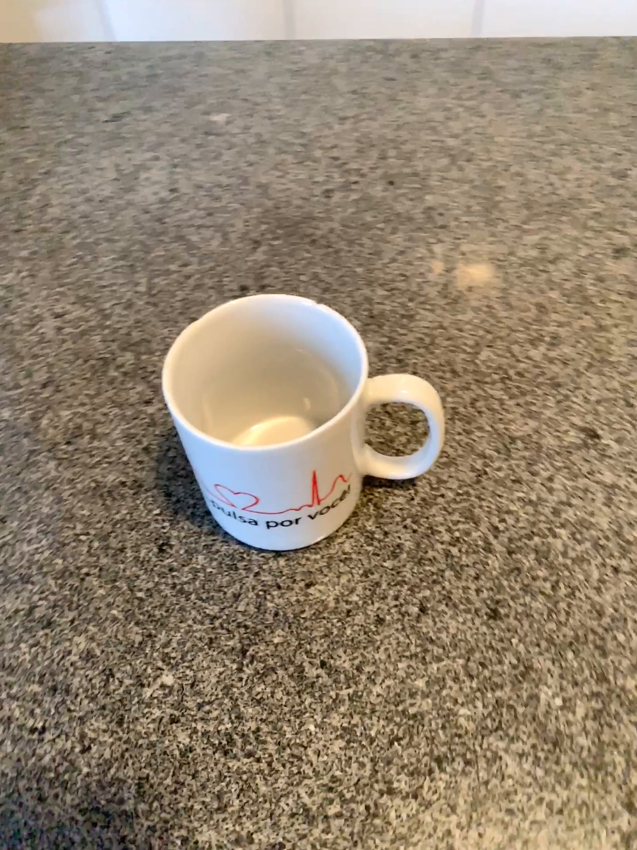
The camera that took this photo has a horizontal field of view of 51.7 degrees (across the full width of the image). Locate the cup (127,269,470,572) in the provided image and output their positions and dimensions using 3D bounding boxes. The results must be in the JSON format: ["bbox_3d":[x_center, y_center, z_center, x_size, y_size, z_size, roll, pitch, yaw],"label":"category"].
[{"bbox_3d":[-0.002,0.000,0.295,0.120,0.100,0.090,2,54,5],"label":"cup"}]

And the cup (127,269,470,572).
[{"bbox_3d":[-0.002,0.000,0.295,0.120,0.100,0.090,2,54,5],"label":"cup"}]
